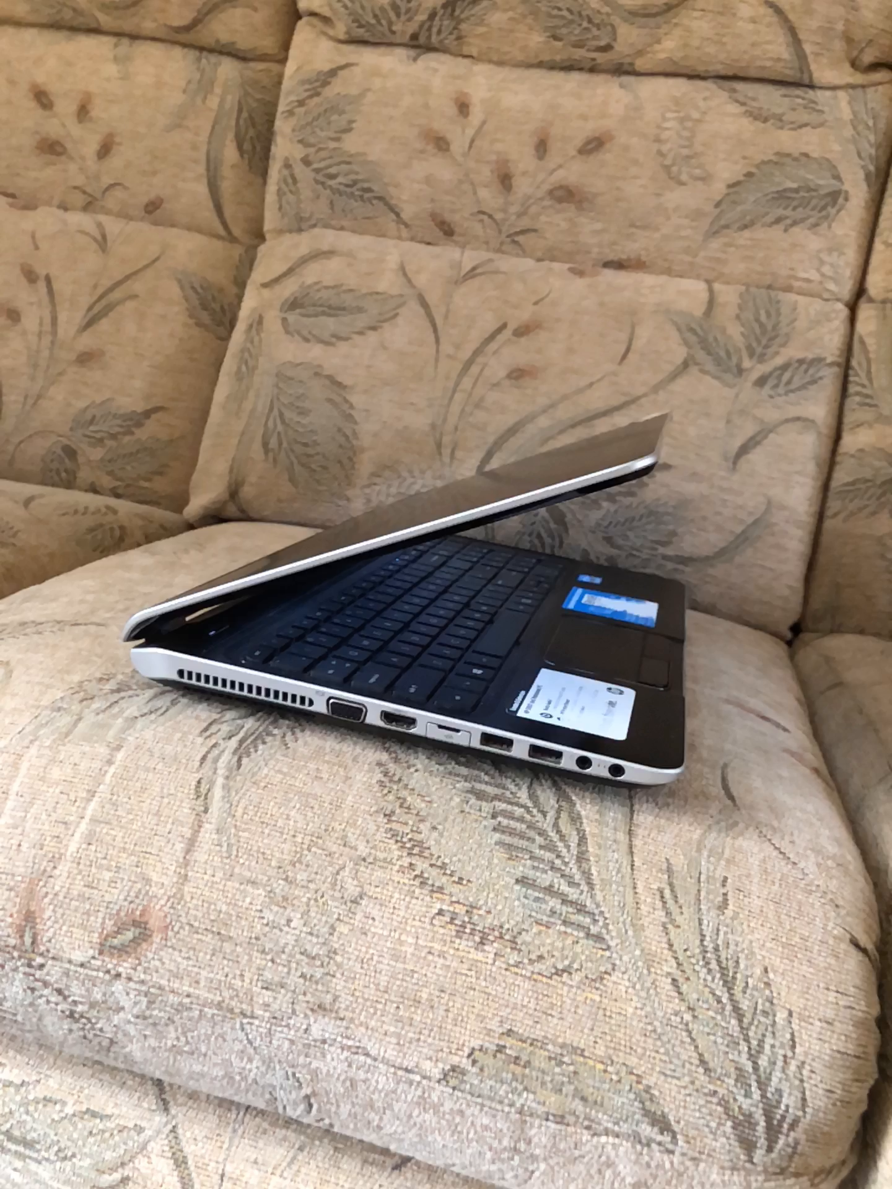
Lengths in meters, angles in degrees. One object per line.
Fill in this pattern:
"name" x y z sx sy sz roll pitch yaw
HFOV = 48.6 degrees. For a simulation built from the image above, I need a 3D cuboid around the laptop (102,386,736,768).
"laptop" 0.024 -0.047 0.593 0.254 0.113 0.398 10 15 10
